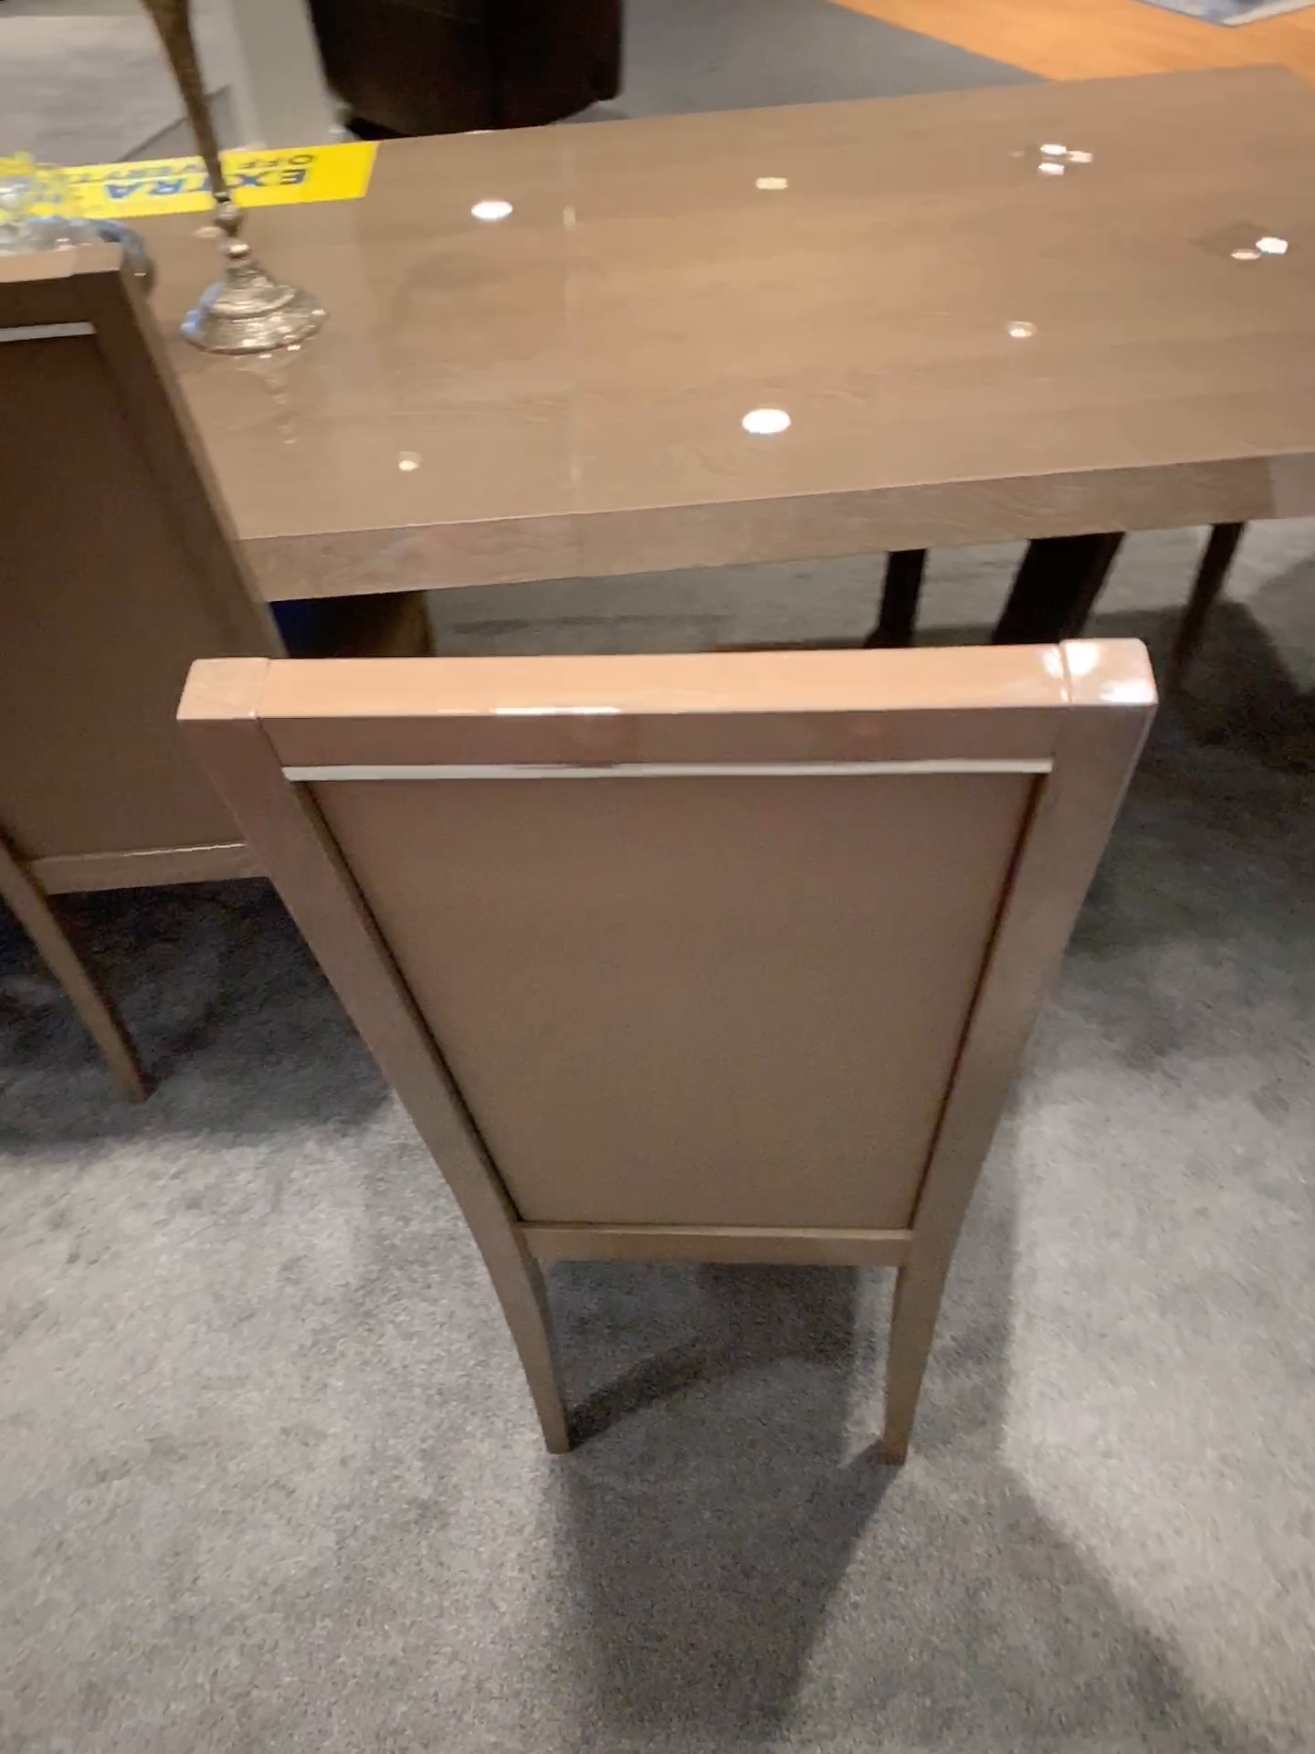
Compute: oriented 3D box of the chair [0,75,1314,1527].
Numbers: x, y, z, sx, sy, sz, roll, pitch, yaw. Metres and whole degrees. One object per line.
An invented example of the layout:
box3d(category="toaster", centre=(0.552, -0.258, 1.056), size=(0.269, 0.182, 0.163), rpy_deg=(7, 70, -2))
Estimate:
box3d(category="chair", centre=(0.042, 0.041, 1.035), size=(0.498, 0.977, 0.586), rpy_deg=(-1, 49, 5))
